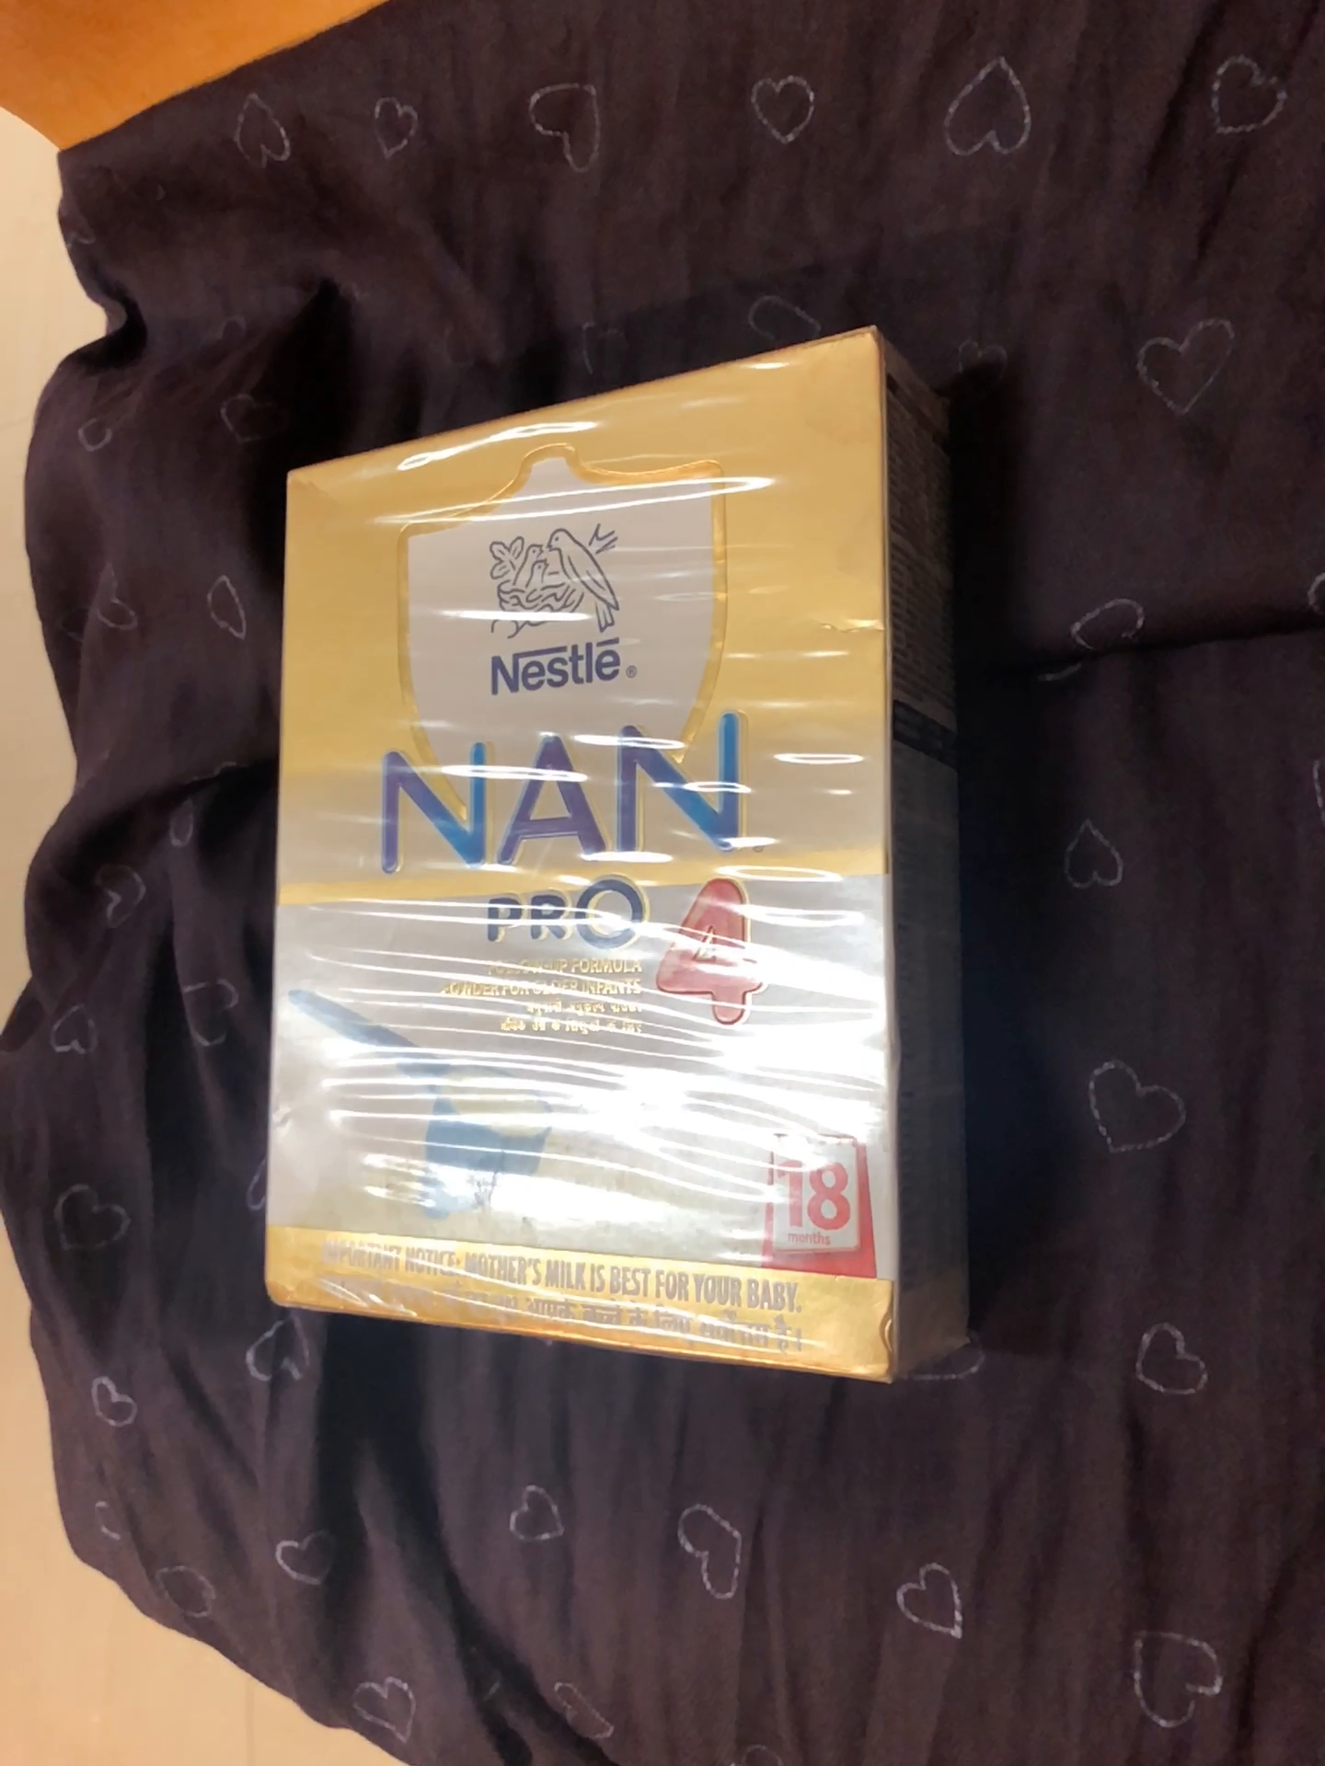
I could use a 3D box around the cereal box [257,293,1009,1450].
[{"bbox_3d":[-0.011,0.000,0.328,0.160,0.050,0.210,-3,83,31],"label":"cereal box"}]
